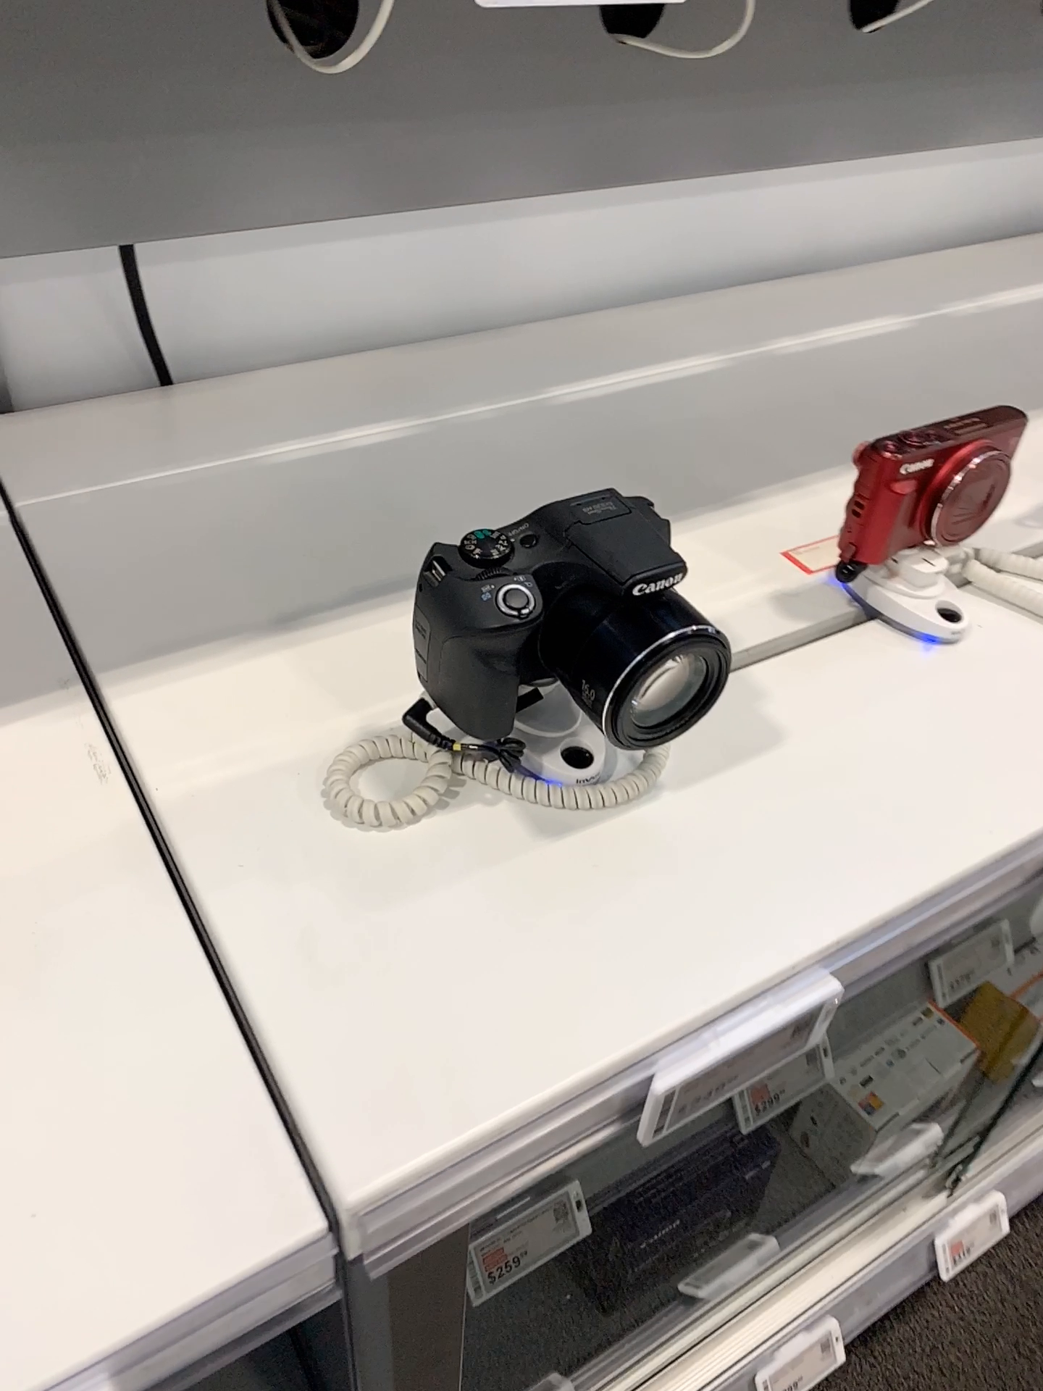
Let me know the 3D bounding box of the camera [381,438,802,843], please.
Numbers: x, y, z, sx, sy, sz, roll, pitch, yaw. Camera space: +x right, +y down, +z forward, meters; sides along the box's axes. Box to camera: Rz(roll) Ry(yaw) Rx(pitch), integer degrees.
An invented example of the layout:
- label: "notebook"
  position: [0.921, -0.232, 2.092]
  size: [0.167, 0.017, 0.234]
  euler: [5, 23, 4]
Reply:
- label: "camera"
  position: [0.022, -0.027, 0.424]
  size: [0.120, 0.089, 0.100]
  euler: [-21, 46, -26]

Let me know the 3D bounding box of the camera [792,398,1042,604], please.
- label: "camera"
  position: [0.207, -0.103, 0.558]
  size: [0.120, 0.070, 0.040]
  euler: [-20, 46, -26]
